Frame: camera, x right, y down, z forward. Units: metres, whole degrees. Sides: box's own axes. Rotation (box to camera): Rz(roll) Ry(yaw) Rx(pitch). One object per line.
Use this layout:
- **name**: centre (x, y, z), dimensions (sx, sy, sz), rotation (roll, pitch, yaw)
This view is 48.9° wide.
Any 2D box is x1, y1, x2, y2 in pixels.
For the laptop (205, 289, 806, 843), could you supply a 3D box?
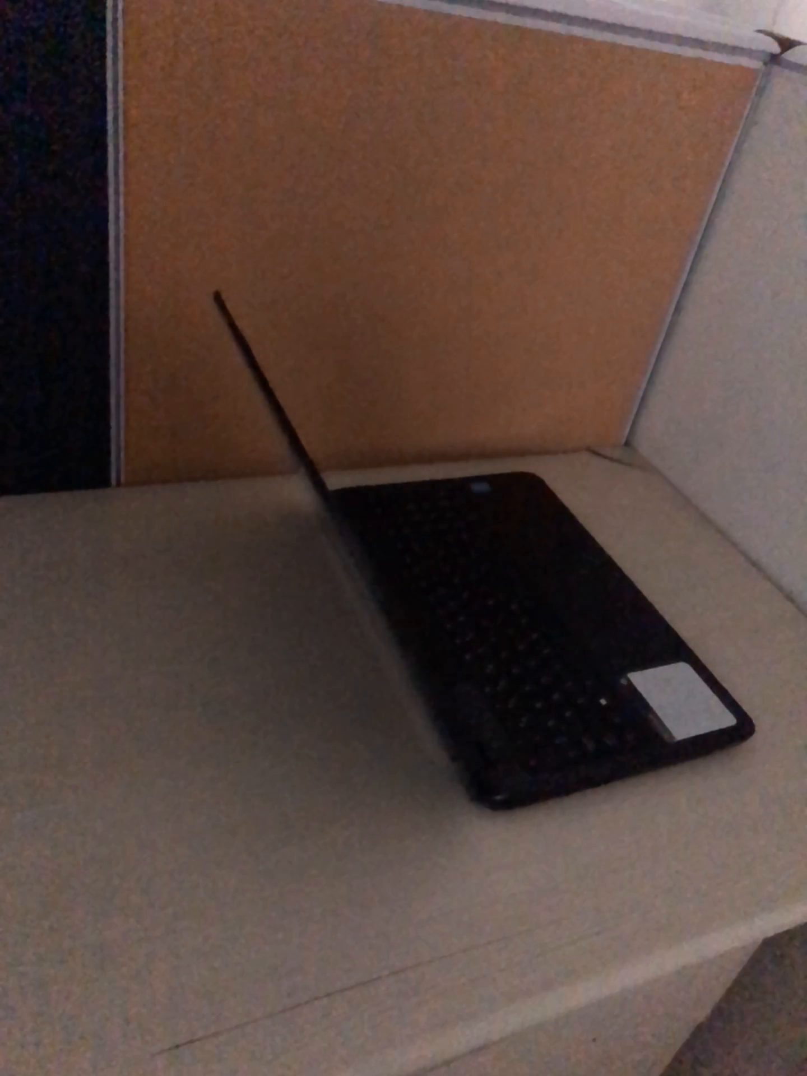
- **laptop**: centre (0.064, -0.020, 0.701), dimensions (0.352, 0.205, 0.357), rotation (-8, 41, -24)
